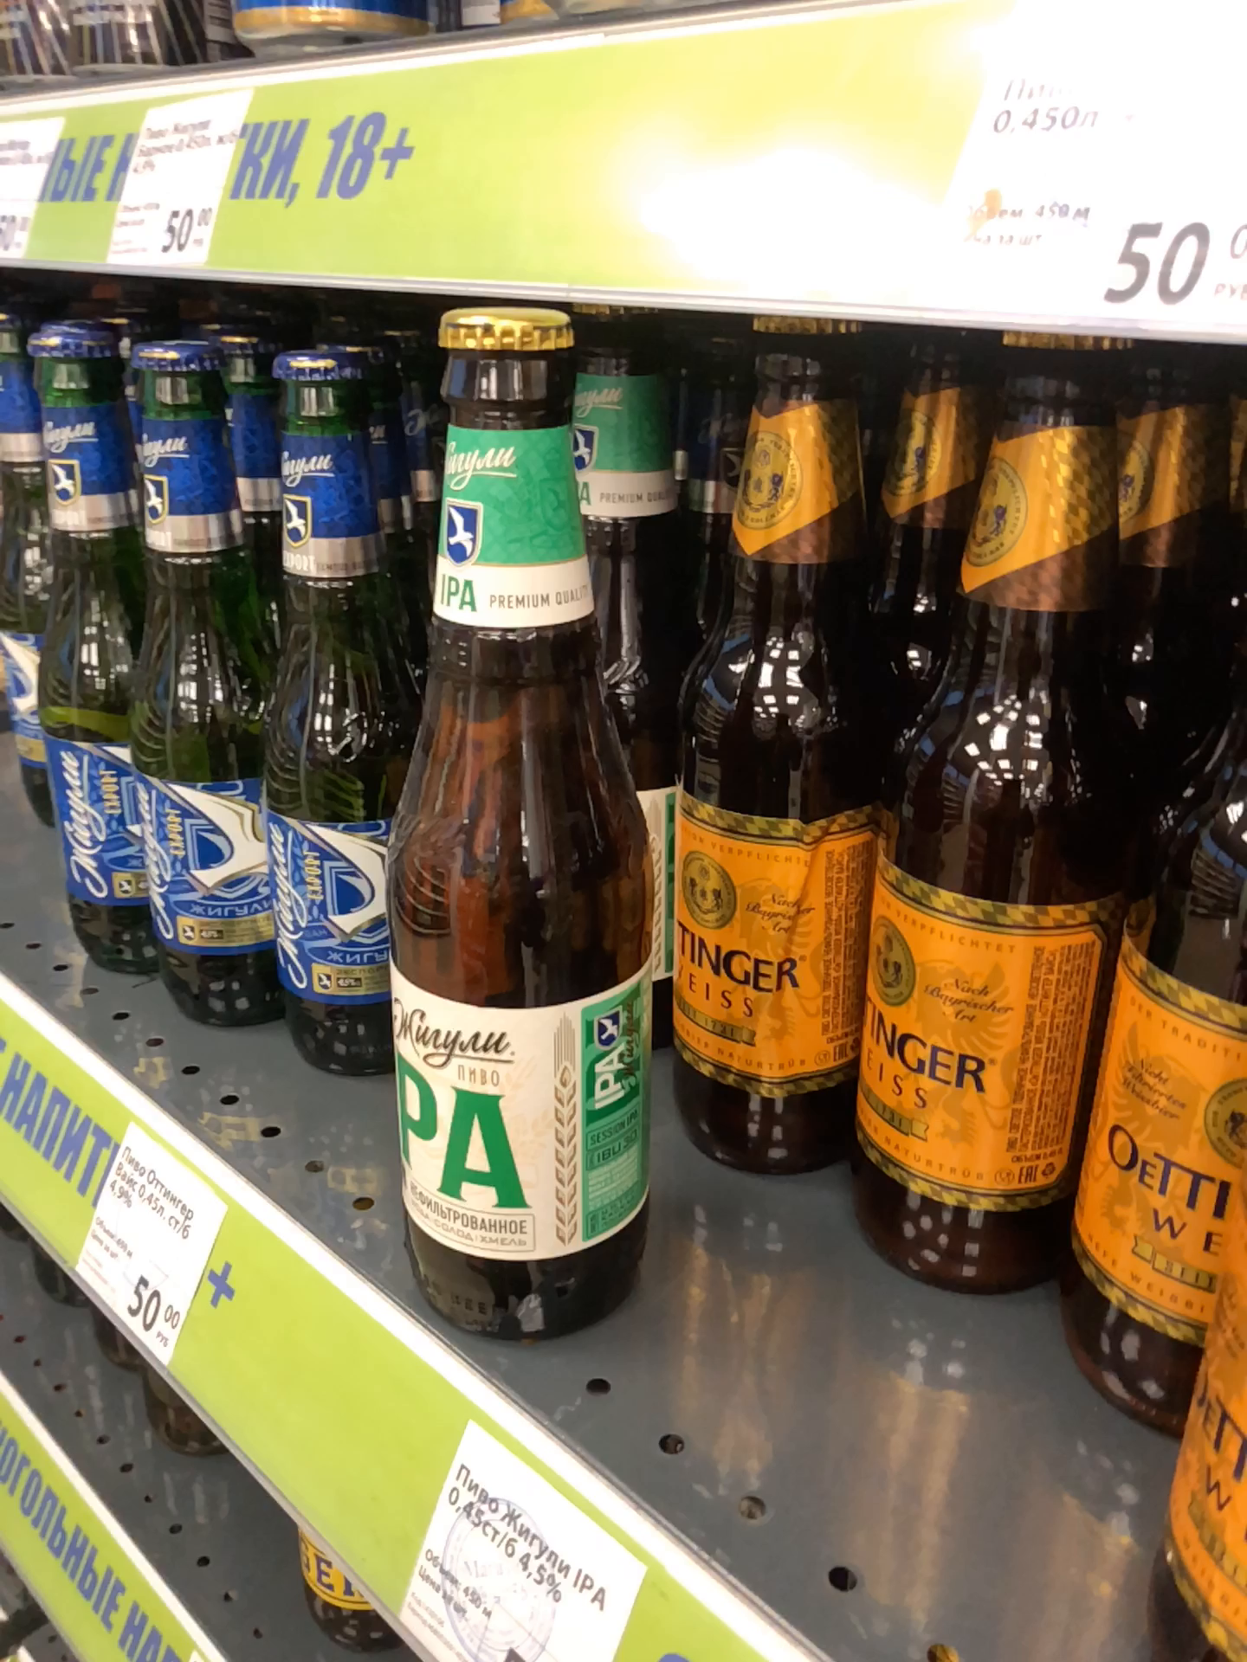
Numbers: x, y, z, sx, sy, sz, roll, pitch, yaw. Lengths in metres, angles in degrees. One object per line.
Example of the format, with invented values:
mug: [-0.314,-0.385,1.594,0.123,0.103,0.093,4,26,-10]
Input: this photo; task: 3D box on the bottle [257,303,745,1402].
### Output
bottle: [-0.026,0.007,0.349,0.080,0.258,0.070,21,32,40]
